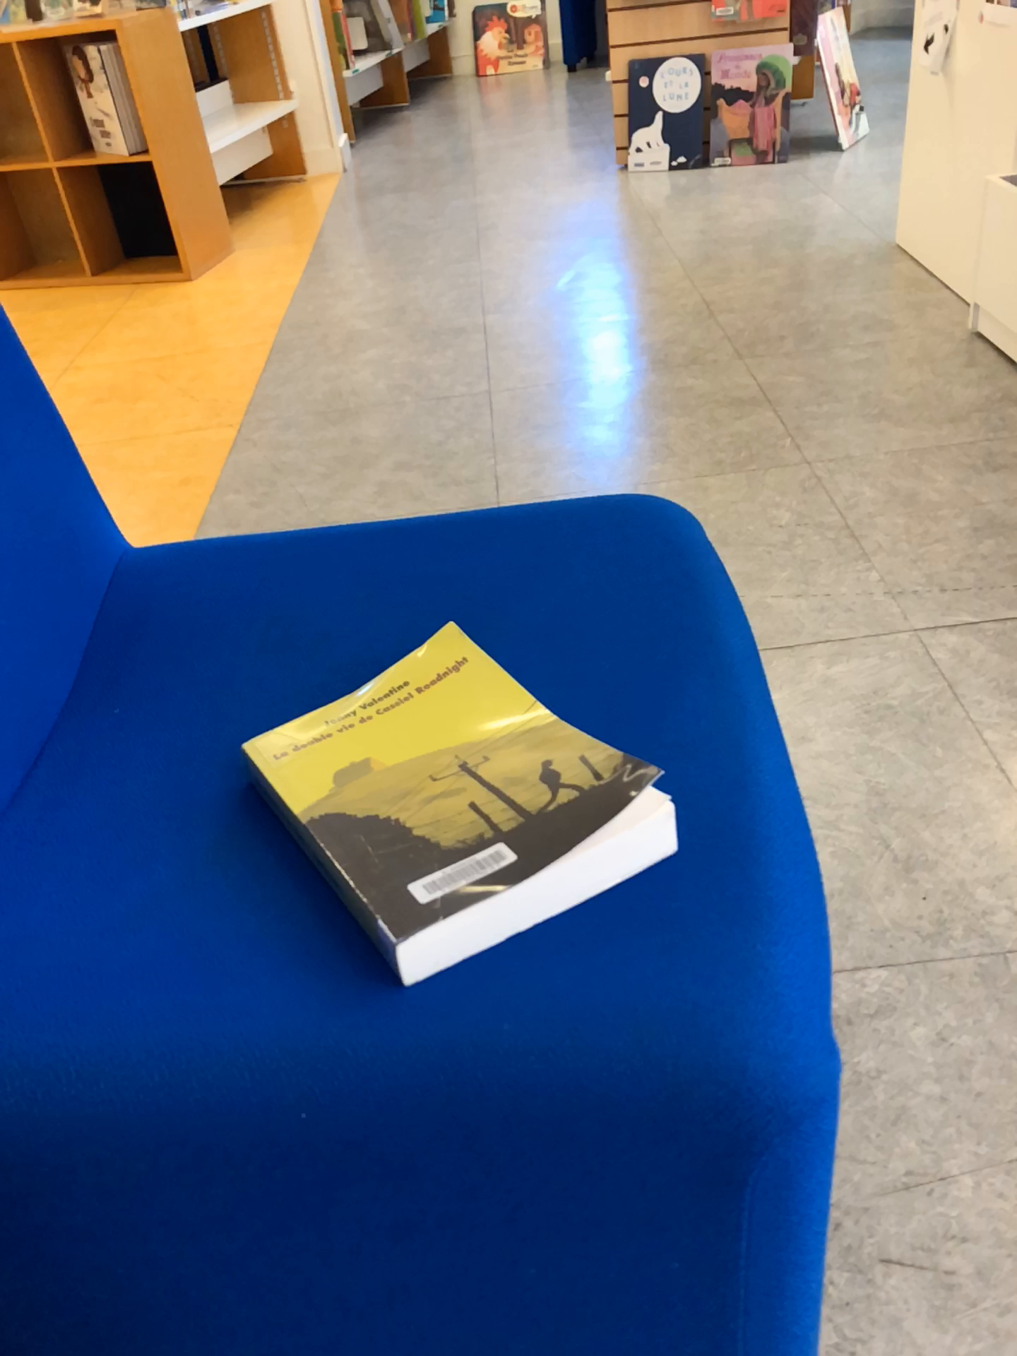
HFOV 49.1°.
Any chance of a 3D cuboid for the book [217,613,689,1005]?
[{"bbox_3d":[-0.037,0.047,0.548,0.145,0.040,0.215,-24,33,-22],"label":"book"}]
